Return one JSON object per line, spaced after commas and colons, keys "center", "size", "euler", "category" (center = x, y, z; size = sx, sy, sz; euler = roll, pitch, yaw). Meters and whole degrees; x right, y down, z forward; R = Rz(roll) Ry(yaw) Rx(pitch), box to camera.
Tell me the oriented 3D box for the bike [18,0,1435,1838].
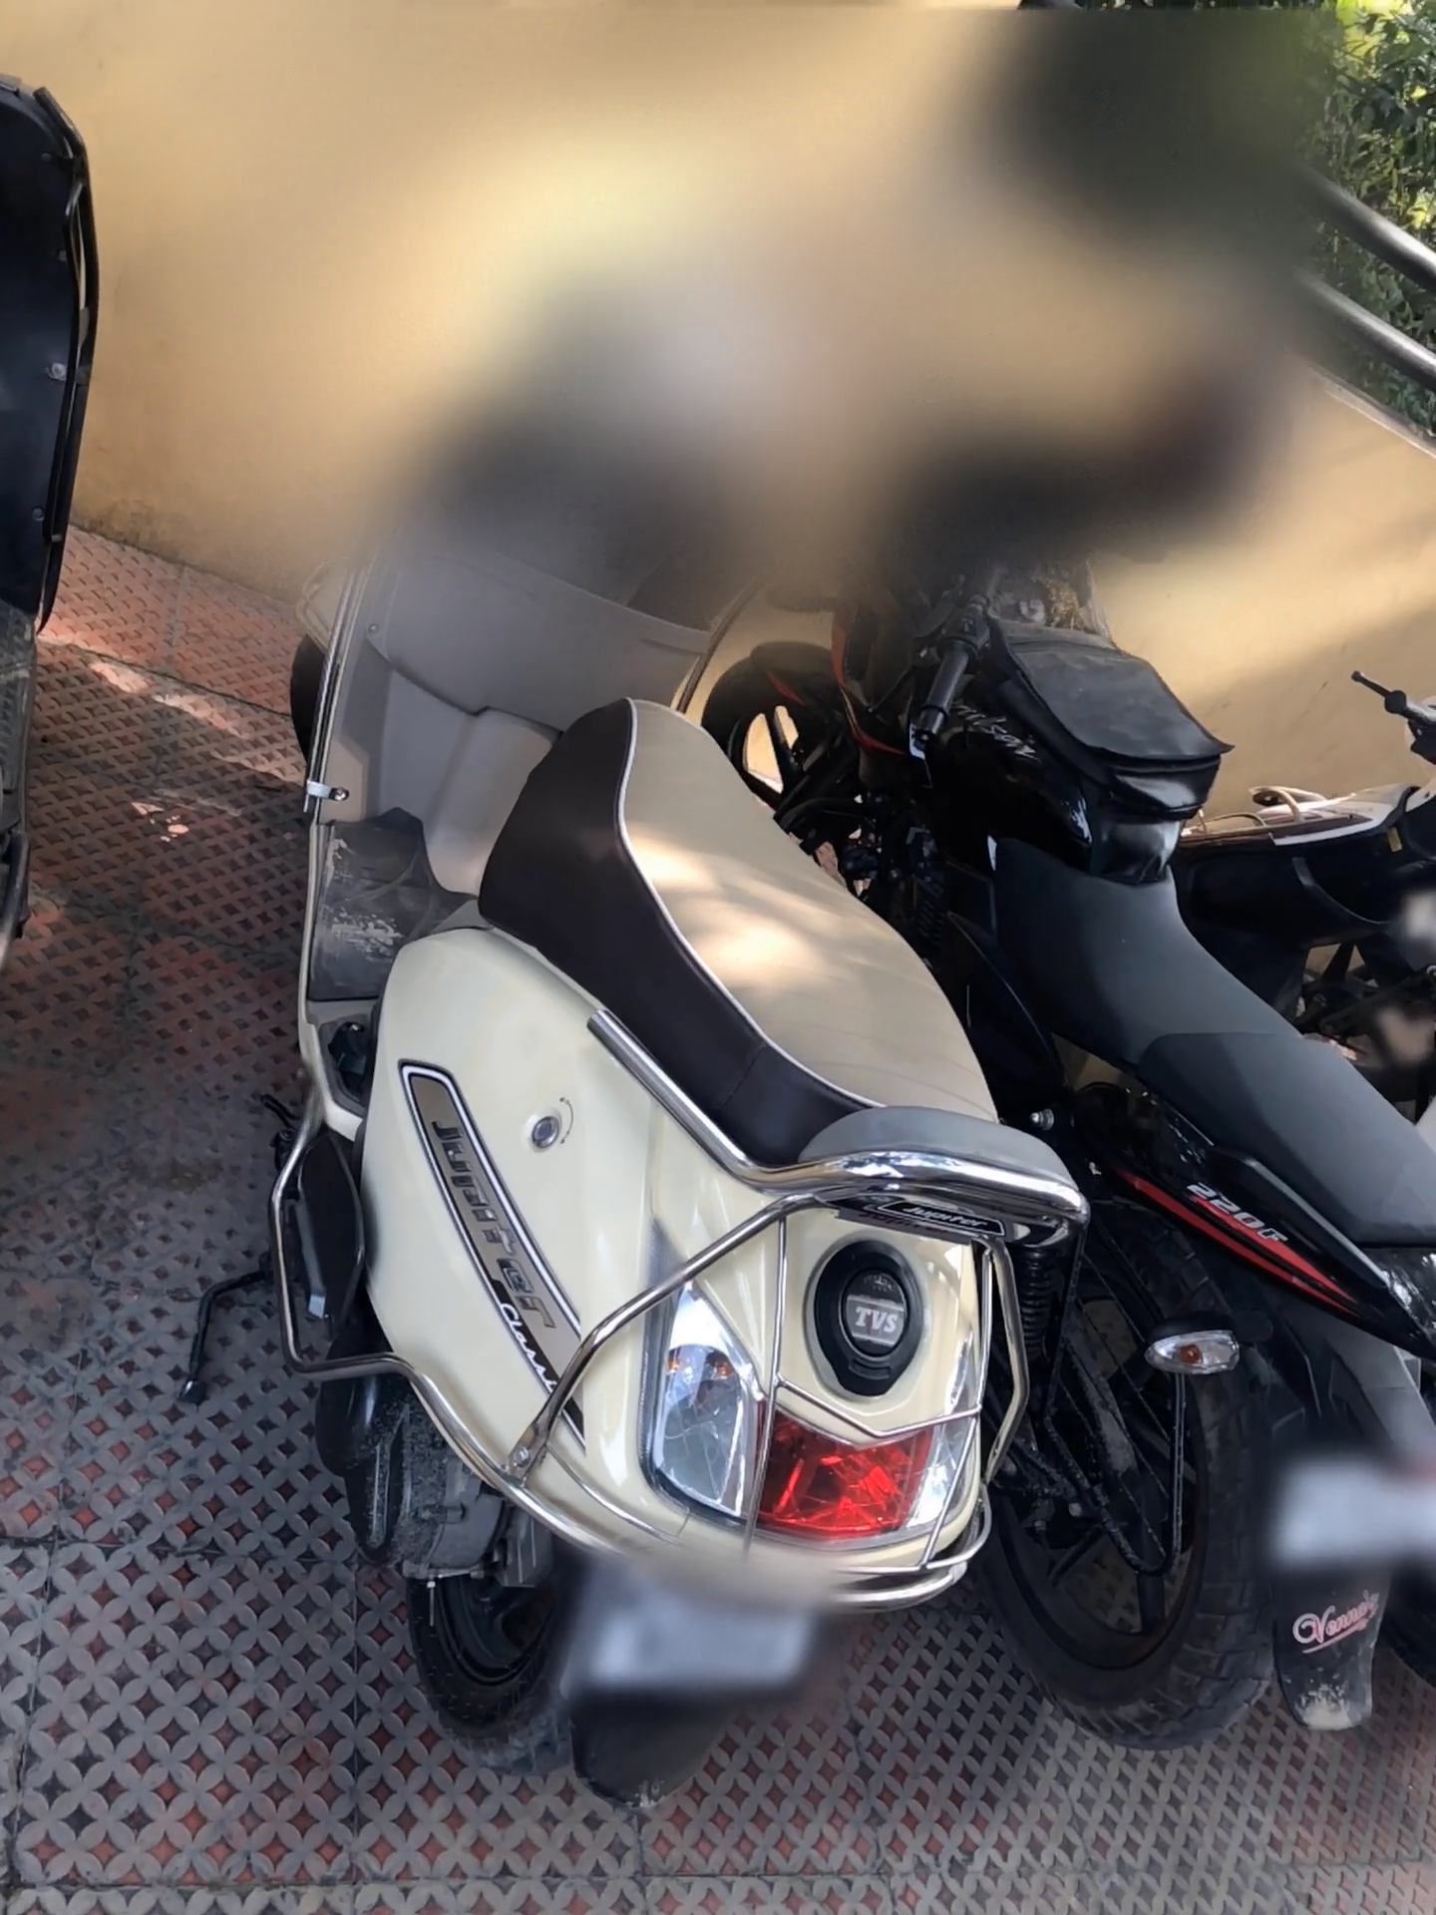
{"center": [-0.255, -0.149, 1.665], "size": [0.646, 0.999, 1.631], "euler": [11, 39, -33], "category": "bike"}
